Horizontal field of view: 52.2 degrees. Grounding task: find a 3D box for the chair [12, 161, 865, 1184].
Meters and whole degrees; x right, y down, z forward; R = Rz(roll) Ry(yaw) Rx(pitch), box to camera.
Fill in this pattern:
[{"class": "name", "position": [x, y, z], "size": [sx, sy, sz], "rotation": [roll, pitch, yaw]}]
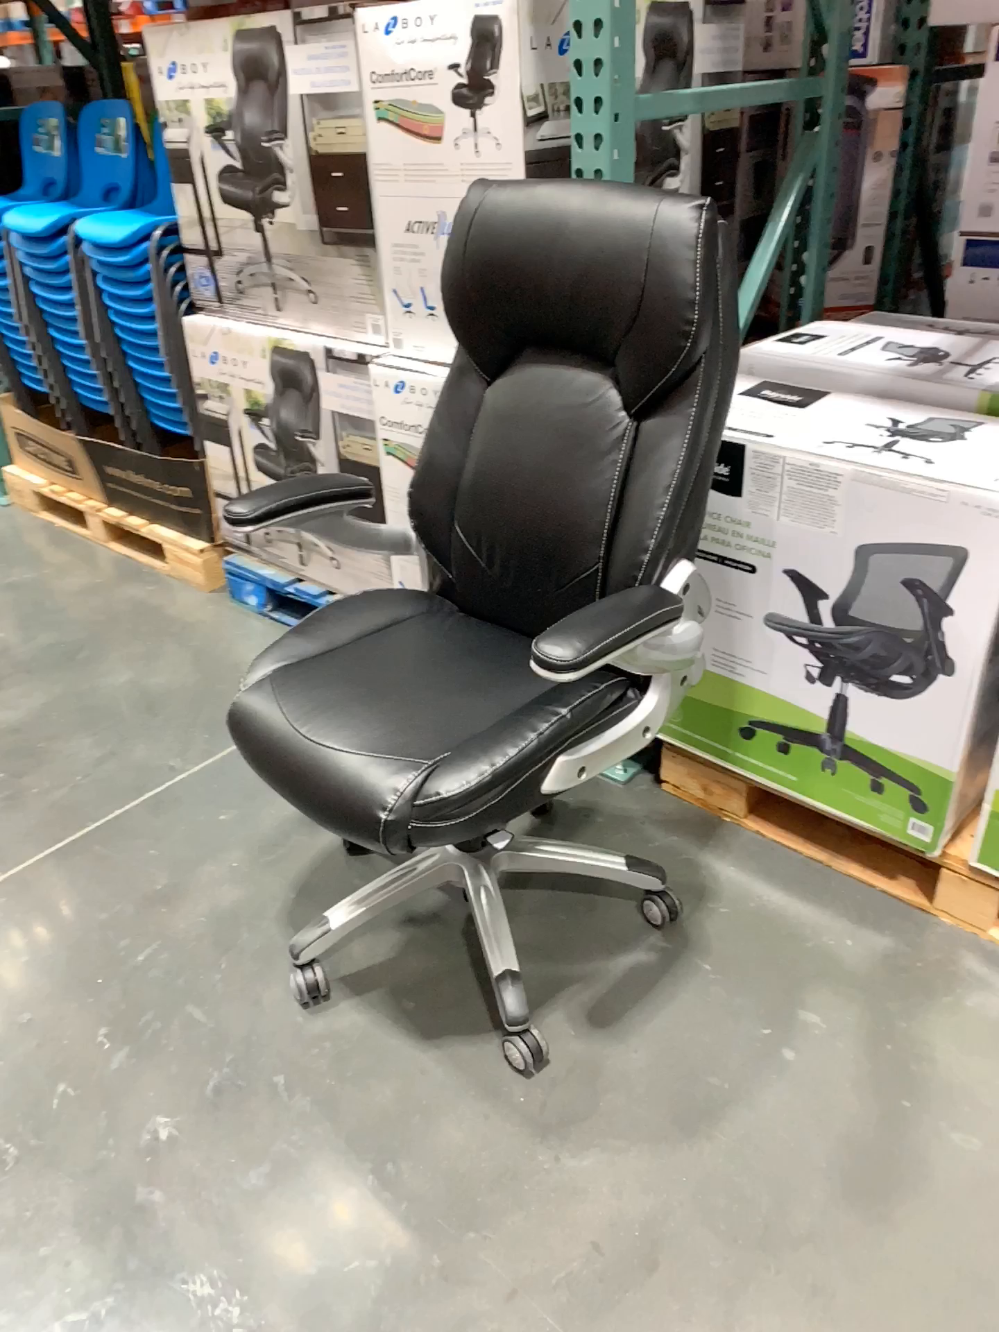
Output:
[{"class": "chair", "position": [-0.057, -0.069, 1.487], "size": [0.705, 1.128, 0.731], "rotation": [-28, 38, -36]}]
